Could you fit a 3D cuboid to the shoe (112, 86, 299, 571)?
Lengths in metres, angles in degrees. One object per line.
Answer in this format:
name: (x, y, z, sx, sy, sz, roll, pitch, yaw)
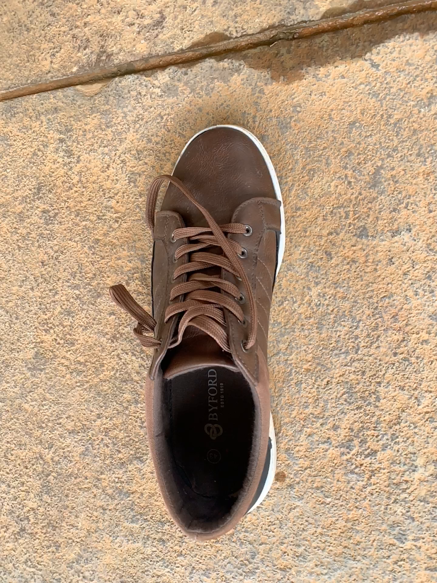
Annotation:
shoe: (-0.008, 0.022, 0.333, 0.110, 0.080, 0.300, -3, 85, 18)
